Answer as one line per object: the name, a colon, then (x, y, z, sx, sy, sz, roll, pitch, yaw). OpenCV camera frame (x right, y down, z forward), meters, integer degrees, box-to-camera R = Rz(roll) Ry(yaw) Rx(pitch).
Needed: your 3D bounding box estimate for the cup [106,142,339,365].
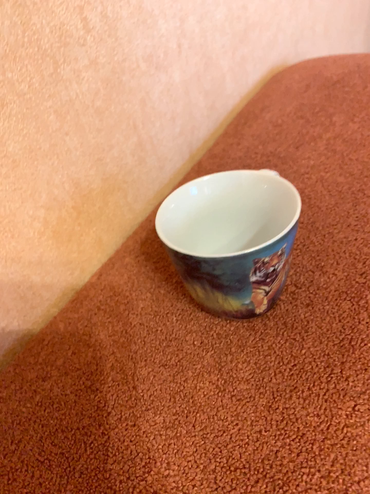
cup: (0.023, -0.004, 0.186, 0.072, 0.047, 0.083, 15, 50, 32)
